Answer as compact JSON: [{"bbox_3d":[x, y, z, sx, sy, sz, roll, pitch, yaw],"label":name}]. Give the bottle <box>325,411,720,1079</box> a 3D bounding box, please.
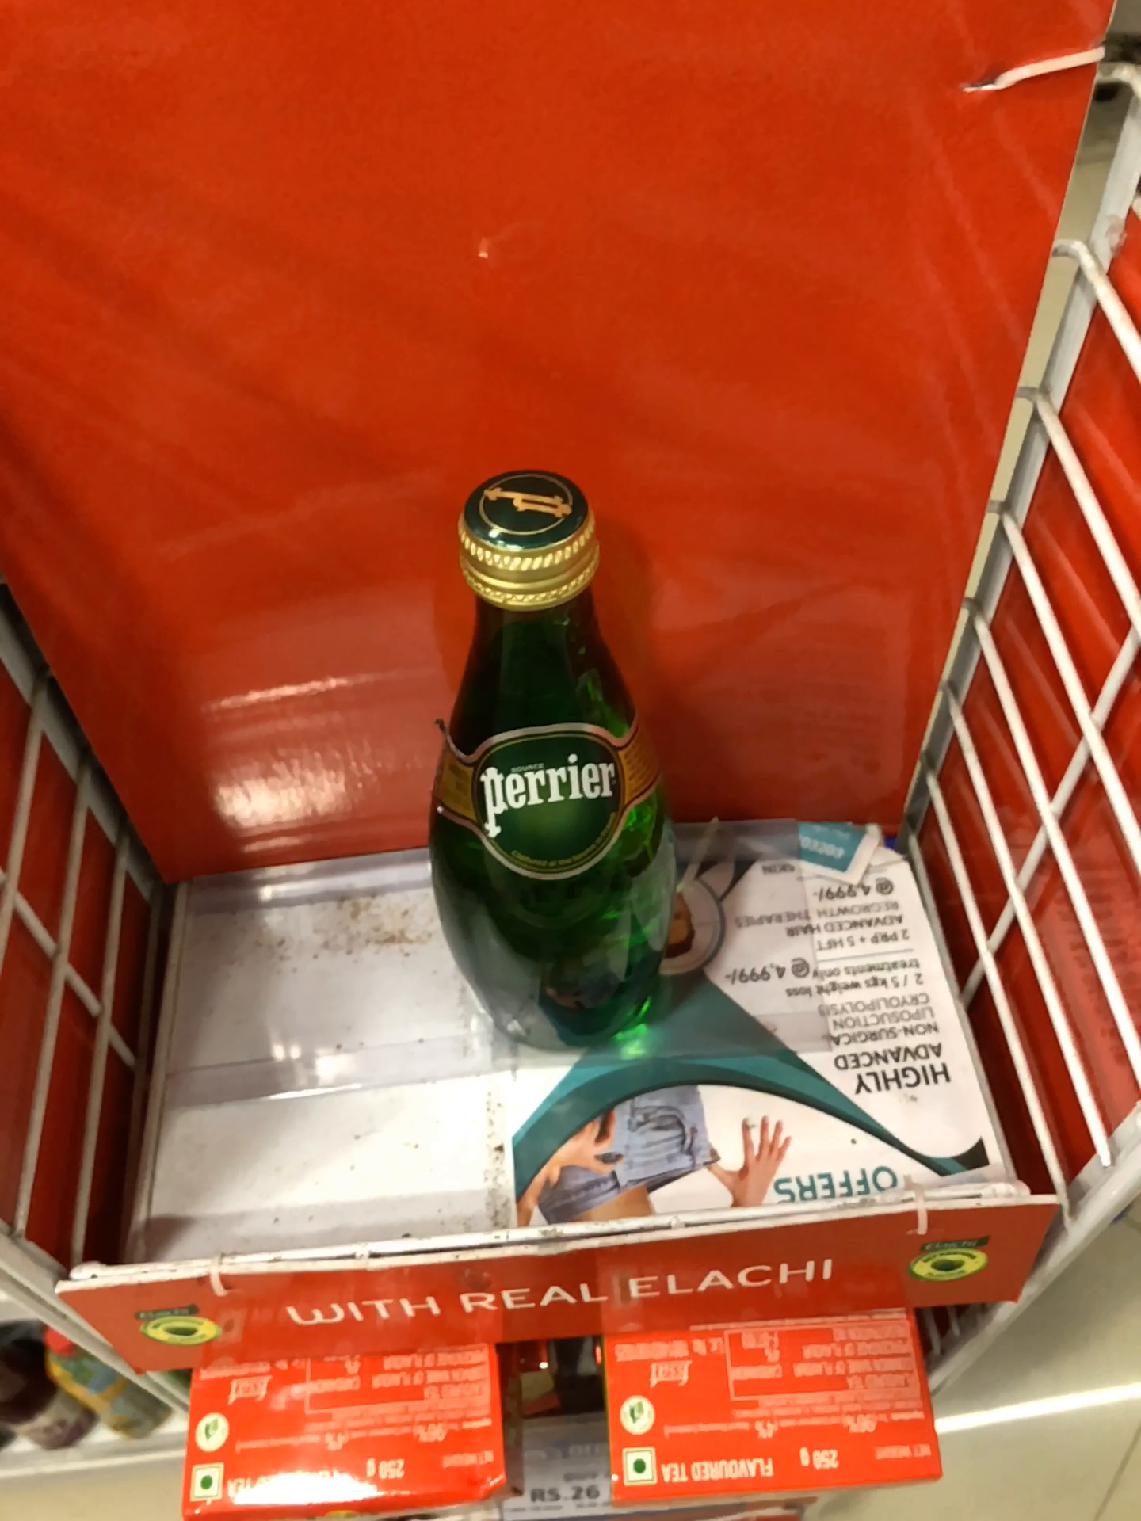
[{"bbox_3d":[-0.008,0.010,0.314,0.070,0.179,0.060,-6,53,-2],"label":"bottle"}]
